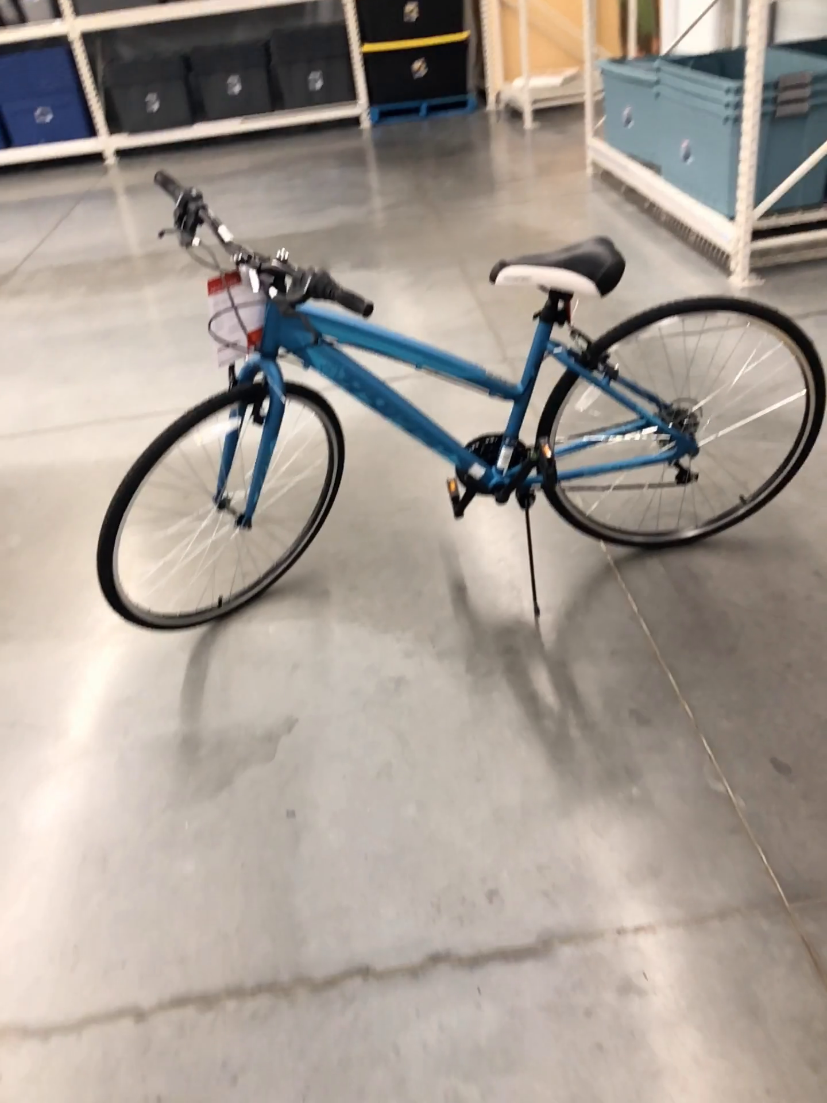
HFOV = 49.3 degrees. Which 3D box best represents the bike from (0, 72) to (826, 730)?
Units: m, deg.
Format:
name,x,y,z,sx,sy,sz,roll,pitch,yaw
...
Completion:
name,x,y,z,sx,sy,sz,roll,pitch,yaw
bike,0.117,-0.346,1.912,1.604,0.978,0.581,-11,33,-7
